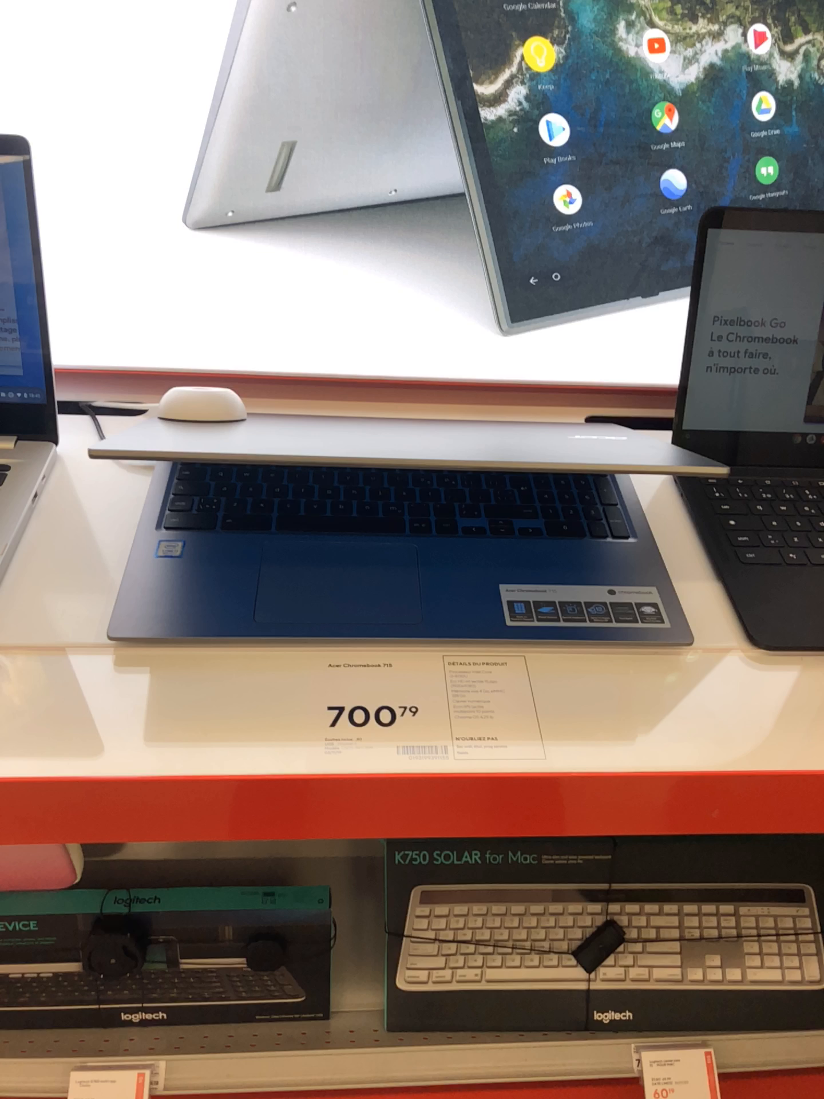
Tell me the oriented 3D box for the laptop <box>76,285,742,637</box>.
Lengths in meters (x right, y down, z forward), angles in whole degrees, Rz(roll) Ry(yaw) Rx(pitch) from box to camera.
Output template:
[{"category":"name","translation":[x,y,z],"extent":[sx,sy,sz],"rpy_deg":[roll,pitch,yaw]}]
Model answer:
[{"category":"laptop","translation":[-0.003,-0.069,0.624],"extent":[0.368,0.109,0.245],"rpy_deg":[1,40,-7]}]
